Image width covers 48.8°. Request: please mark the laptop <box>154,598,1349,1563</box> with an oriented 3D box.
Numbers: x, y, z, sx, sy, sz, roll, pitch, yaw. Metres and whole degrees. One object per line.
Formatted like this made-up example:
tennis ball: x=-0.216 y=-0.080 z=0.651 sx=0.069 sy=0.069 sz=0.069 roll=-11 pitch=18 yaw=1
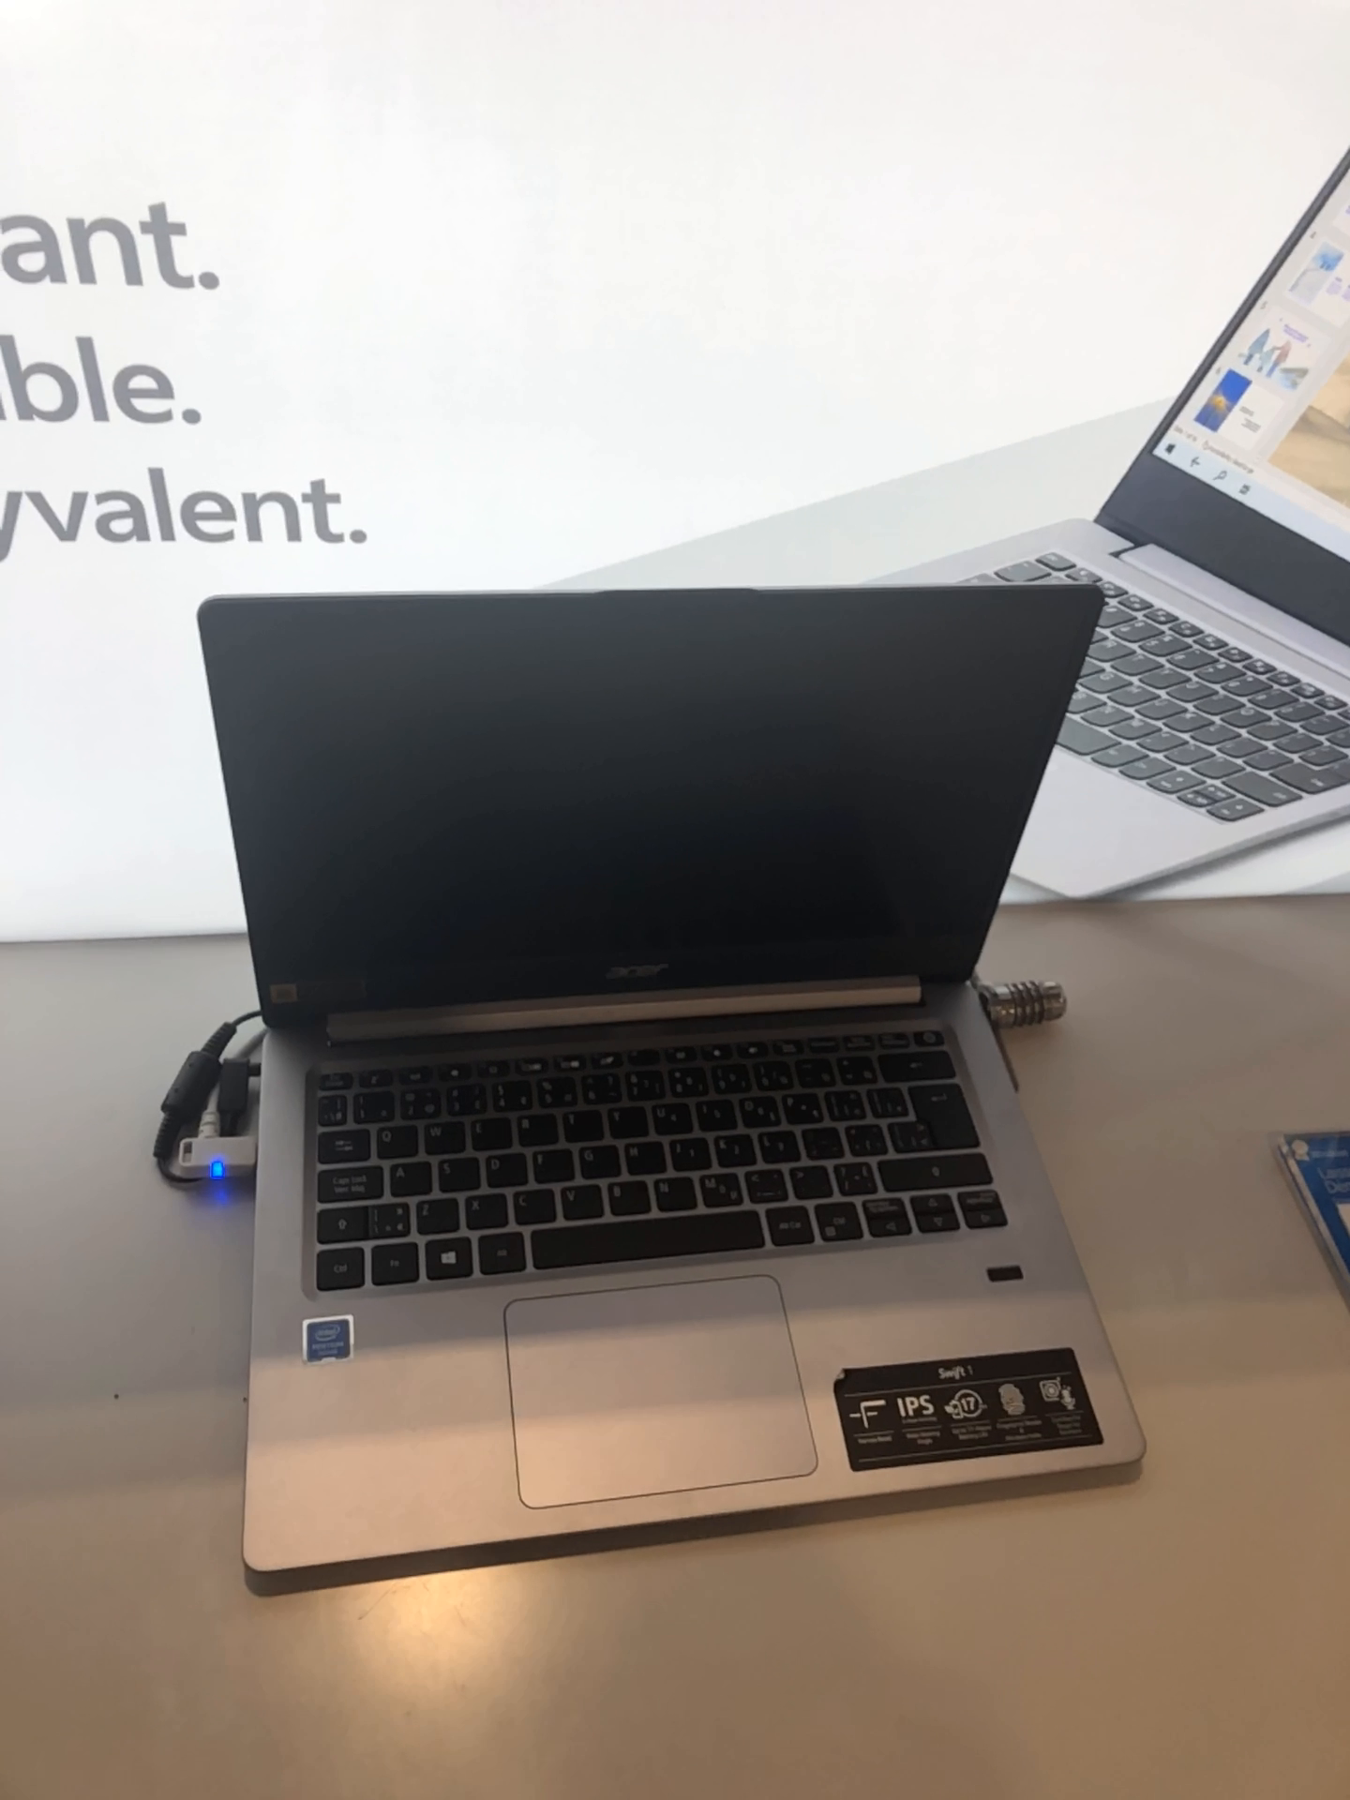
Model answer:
laptop: x=0.009 y=0.053 z=0.511 sx=0.311 sy=0.210 sz=0.227 roll=-3 pitch=47 yaw=-10
